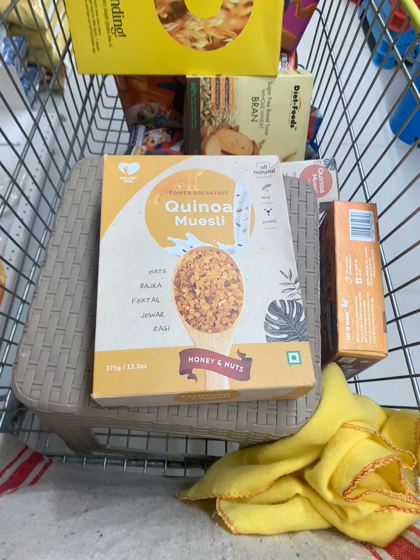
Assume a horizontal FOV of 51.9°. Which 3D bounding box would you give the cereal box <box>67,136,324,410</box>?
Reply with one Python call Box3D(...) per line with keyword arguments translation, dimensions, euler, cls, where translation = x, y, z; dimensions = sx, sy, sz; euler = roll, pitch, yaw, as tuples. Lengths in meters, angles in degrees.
Box3D(translation=(-0.015, -0.009, 0.346), dimensions=(0.160, 0.080, 0.200), euler=(-2, 66, -4), cls="cereal box")
